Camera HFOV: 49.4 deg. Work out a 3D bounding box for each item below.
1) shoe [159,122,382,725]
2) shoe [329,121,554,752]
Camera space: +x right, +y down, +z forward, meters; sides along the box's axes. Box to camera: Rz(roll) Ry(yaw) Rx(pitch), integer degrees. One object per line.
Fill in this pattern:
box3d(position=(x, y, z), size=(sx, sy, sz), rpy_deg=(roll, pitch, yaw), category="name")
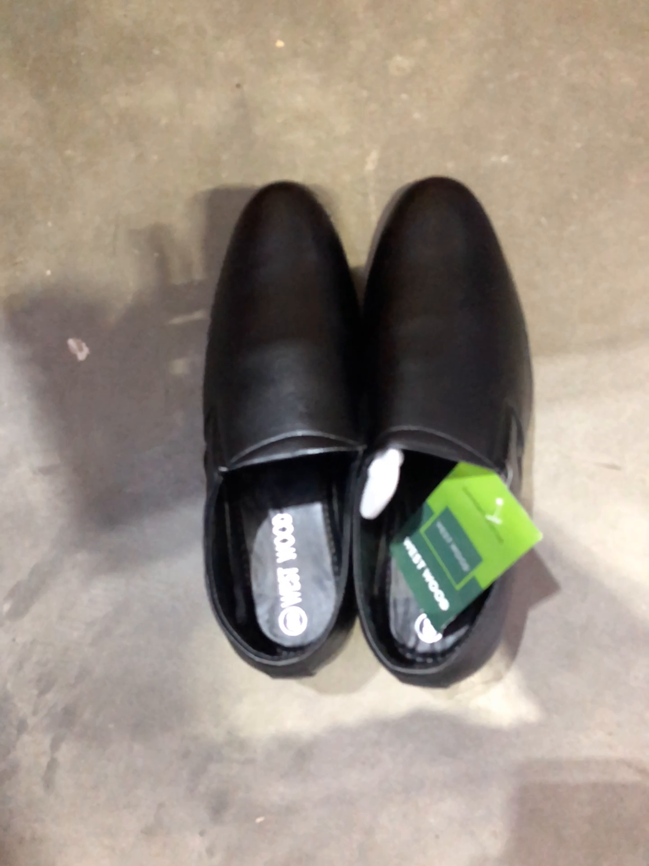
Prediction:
box3d(position=(-0.026, -0.004, 0.407), size=(0.100, 0.100, 0.300), rpy_deg=(-3, 85, 9), category="shoe")
box3d(position=(0.065, -0.001, 0.387), size=(0.100, 0.090, 0.300), rpy_deg=(2, 86, 9), category="shoe")
